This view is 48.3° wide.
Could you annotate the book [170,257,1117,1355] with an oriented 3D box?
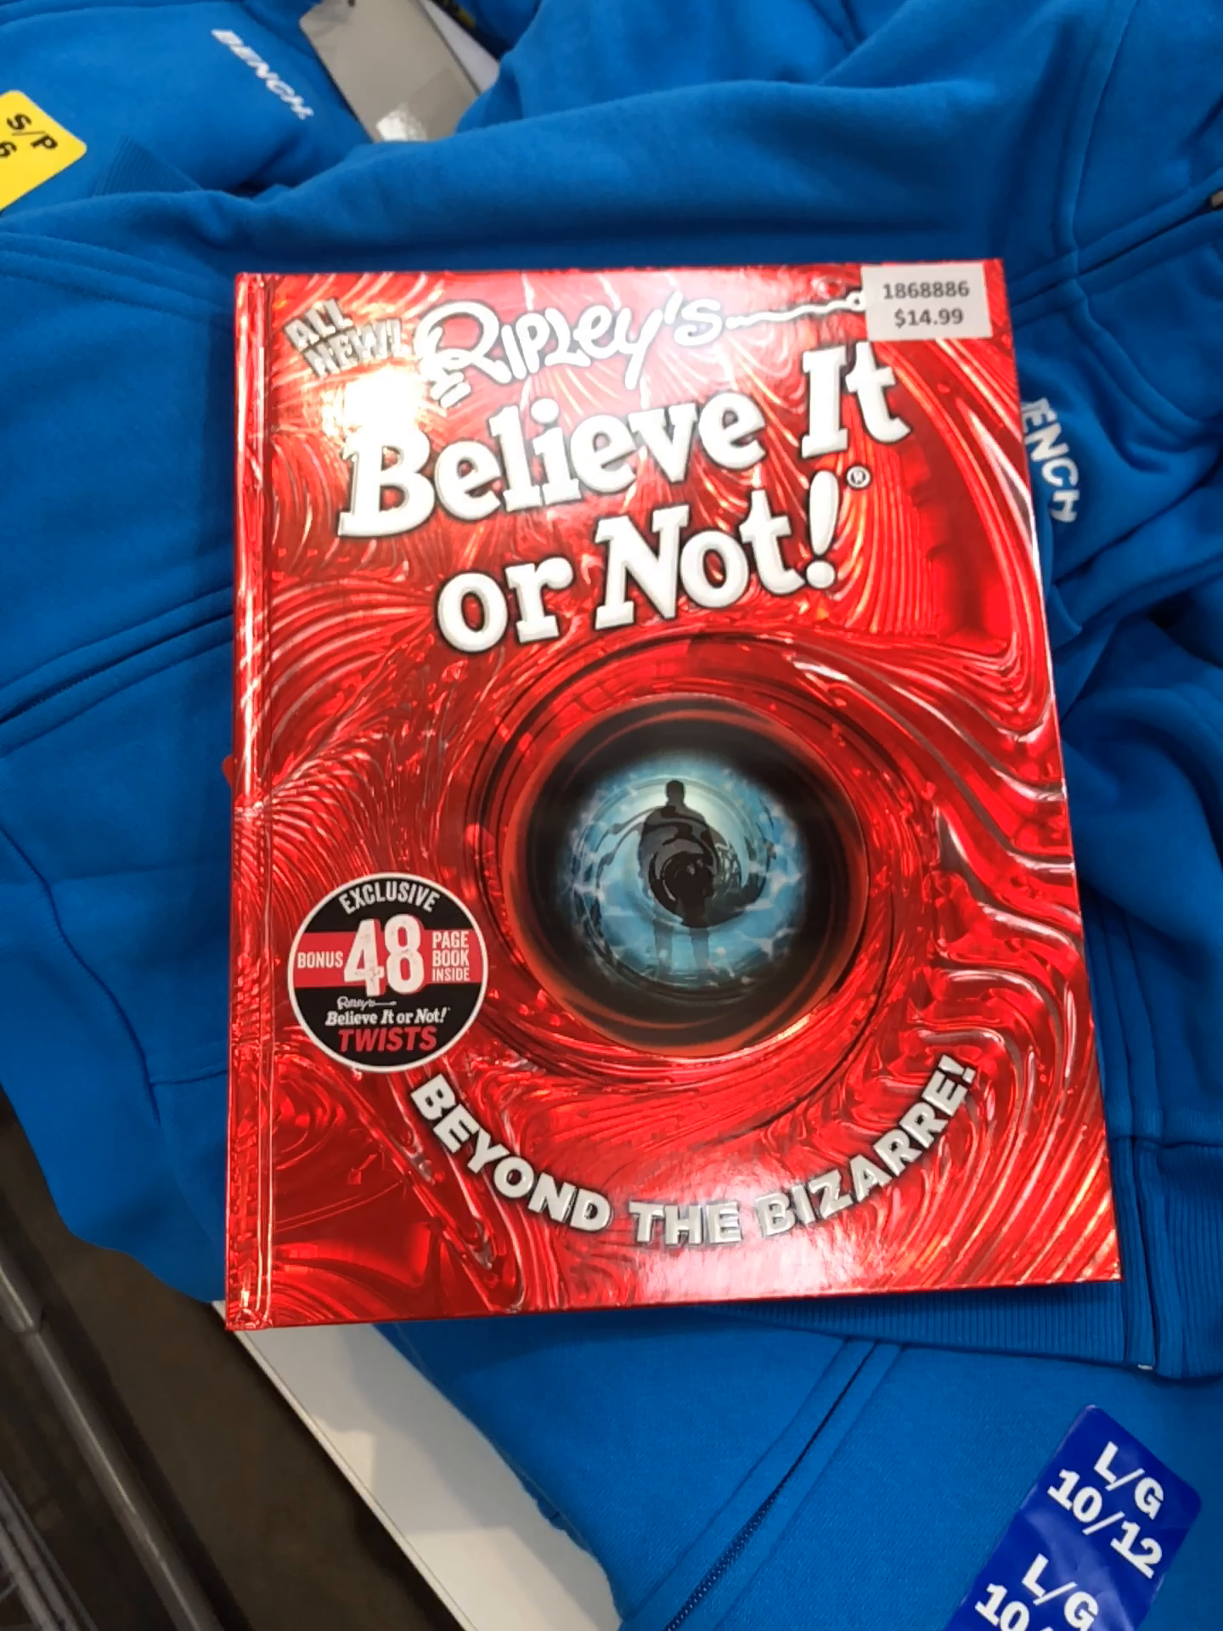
[{"bbox_3d":[0.003,-0.014,0.392,0.244,0.028,0.303,-2,79,-3],"label":"book"}]
